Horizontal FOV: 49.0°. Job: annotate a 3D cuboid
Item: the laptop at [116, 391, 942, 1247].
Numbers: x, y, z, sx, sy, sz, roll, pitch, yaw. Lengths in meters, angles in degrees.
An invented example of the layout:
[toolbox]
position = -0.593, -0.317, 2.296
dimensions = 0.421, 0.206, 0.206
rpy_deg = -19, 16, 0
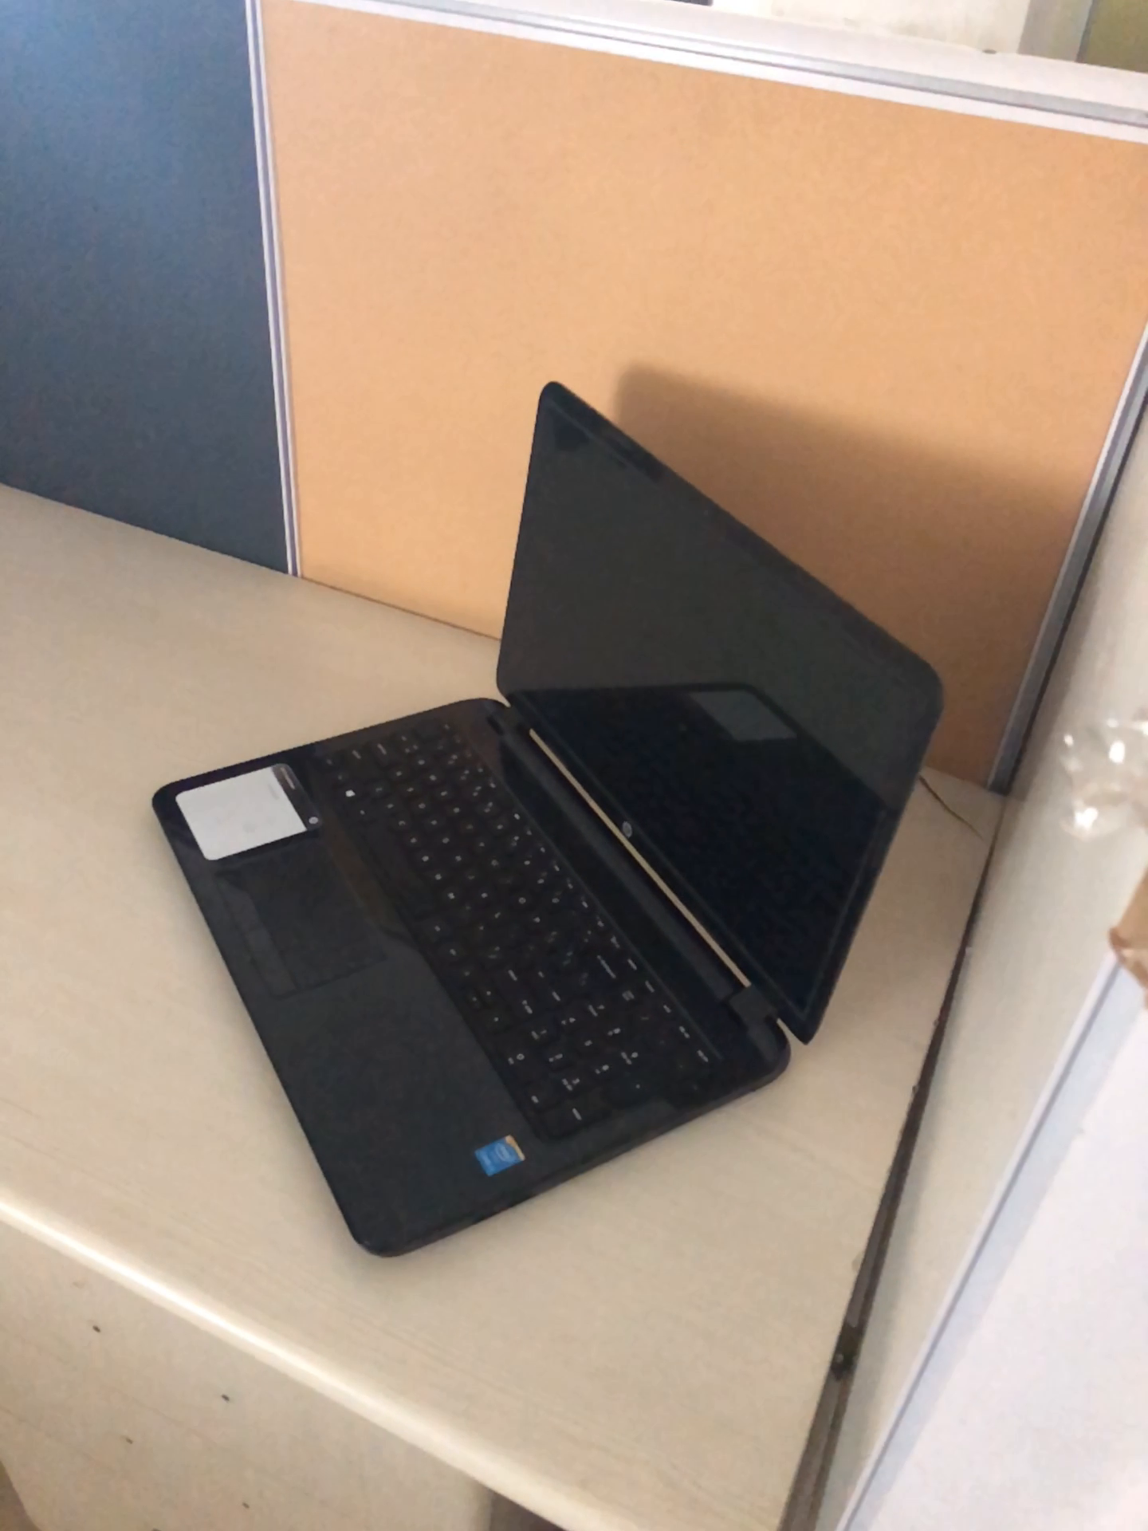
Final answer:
[laptop]
position = -0.050, -0.004, 0.680
dimensions = 0.265, 0.225, 0.352
rpy_deg = -17, 44, -24
